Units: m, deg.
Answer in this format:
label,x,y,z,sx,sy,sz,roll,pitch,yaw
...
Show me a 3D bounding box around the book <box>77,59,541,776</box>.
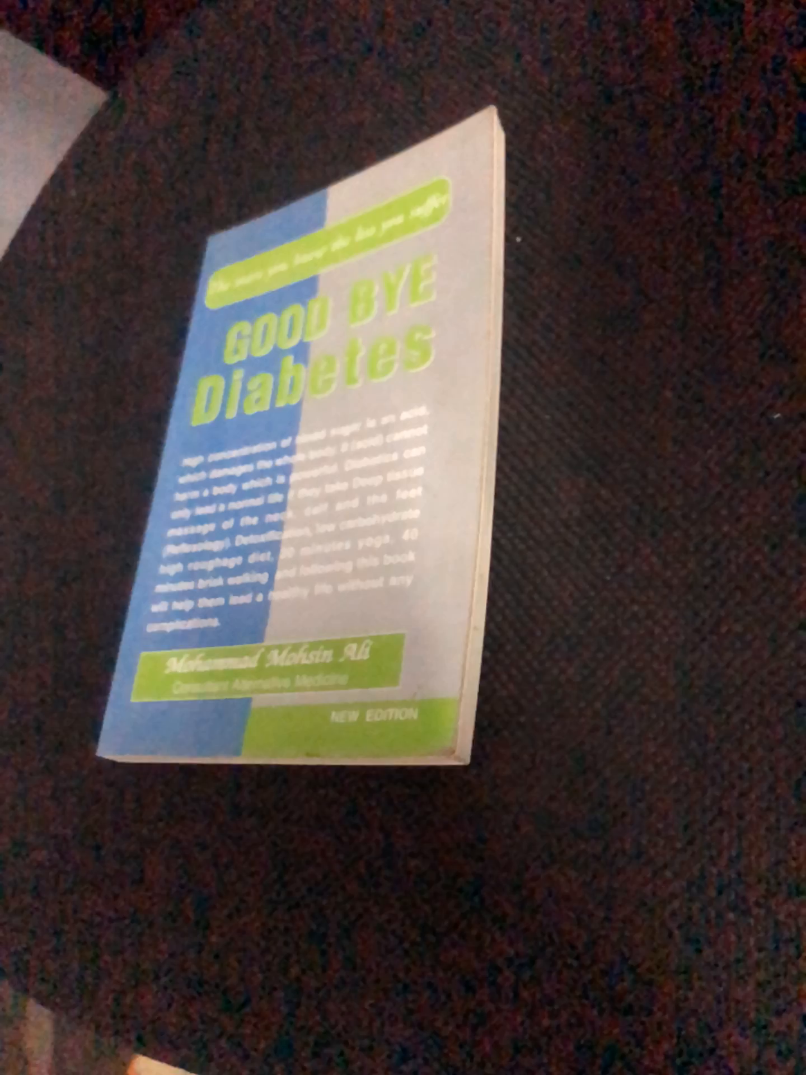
label,x,y,z,sx,sy,sz,roll,pitch,yaw
book,-0.030,-0.040,0.307,0.150,0.020,0.230,-8,65,33
